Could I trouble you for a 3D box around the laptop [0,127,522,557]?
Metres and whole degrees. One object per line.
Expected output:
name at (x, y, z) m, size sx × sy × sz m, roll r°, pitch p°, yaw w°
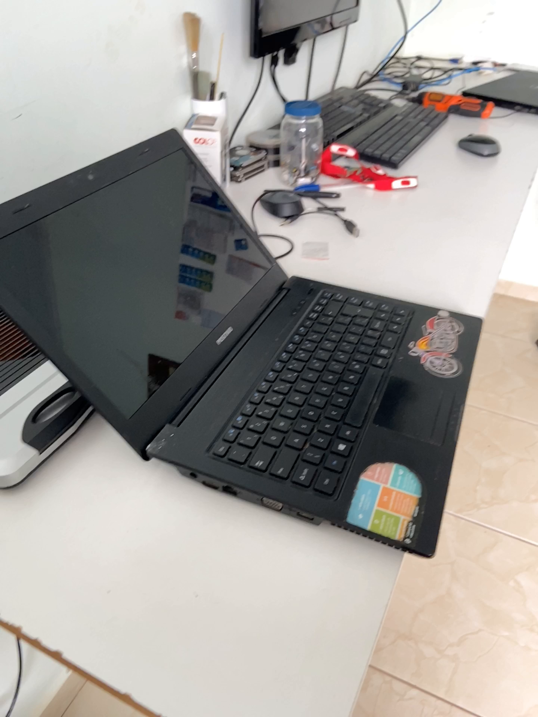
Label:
laptop at (-0.003, -0.069, 0.516) m, size 0.393 × 0.162 × 0.336 m, roll 15°, pitch 39°, yaw 18°
